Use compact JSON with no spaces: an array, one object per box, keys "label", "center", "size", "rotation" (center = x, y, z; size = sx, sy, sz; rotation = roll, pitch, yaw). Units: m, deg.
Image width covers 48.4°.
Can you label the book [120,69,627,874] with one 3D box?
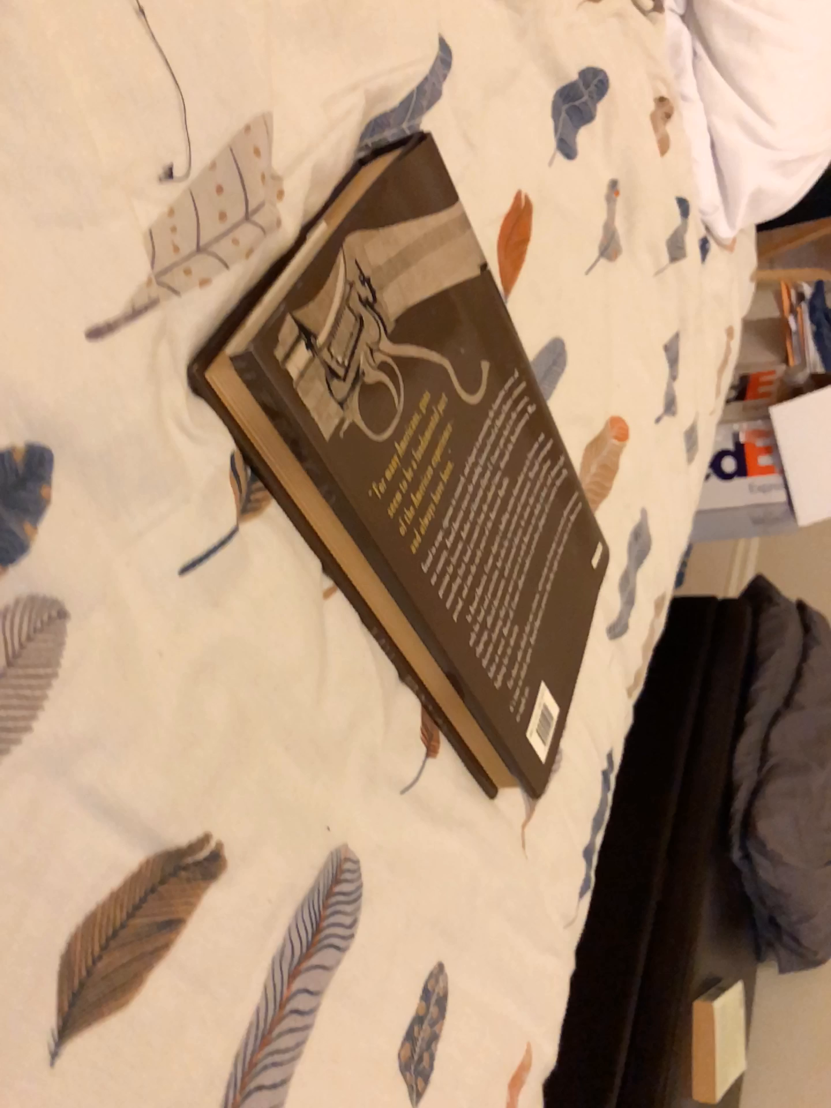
[{"label":"book","center":[0.017,-0.025,0.351],"size":[0.240,0.030,0.181],"rotation":[61,39,-35]}]
